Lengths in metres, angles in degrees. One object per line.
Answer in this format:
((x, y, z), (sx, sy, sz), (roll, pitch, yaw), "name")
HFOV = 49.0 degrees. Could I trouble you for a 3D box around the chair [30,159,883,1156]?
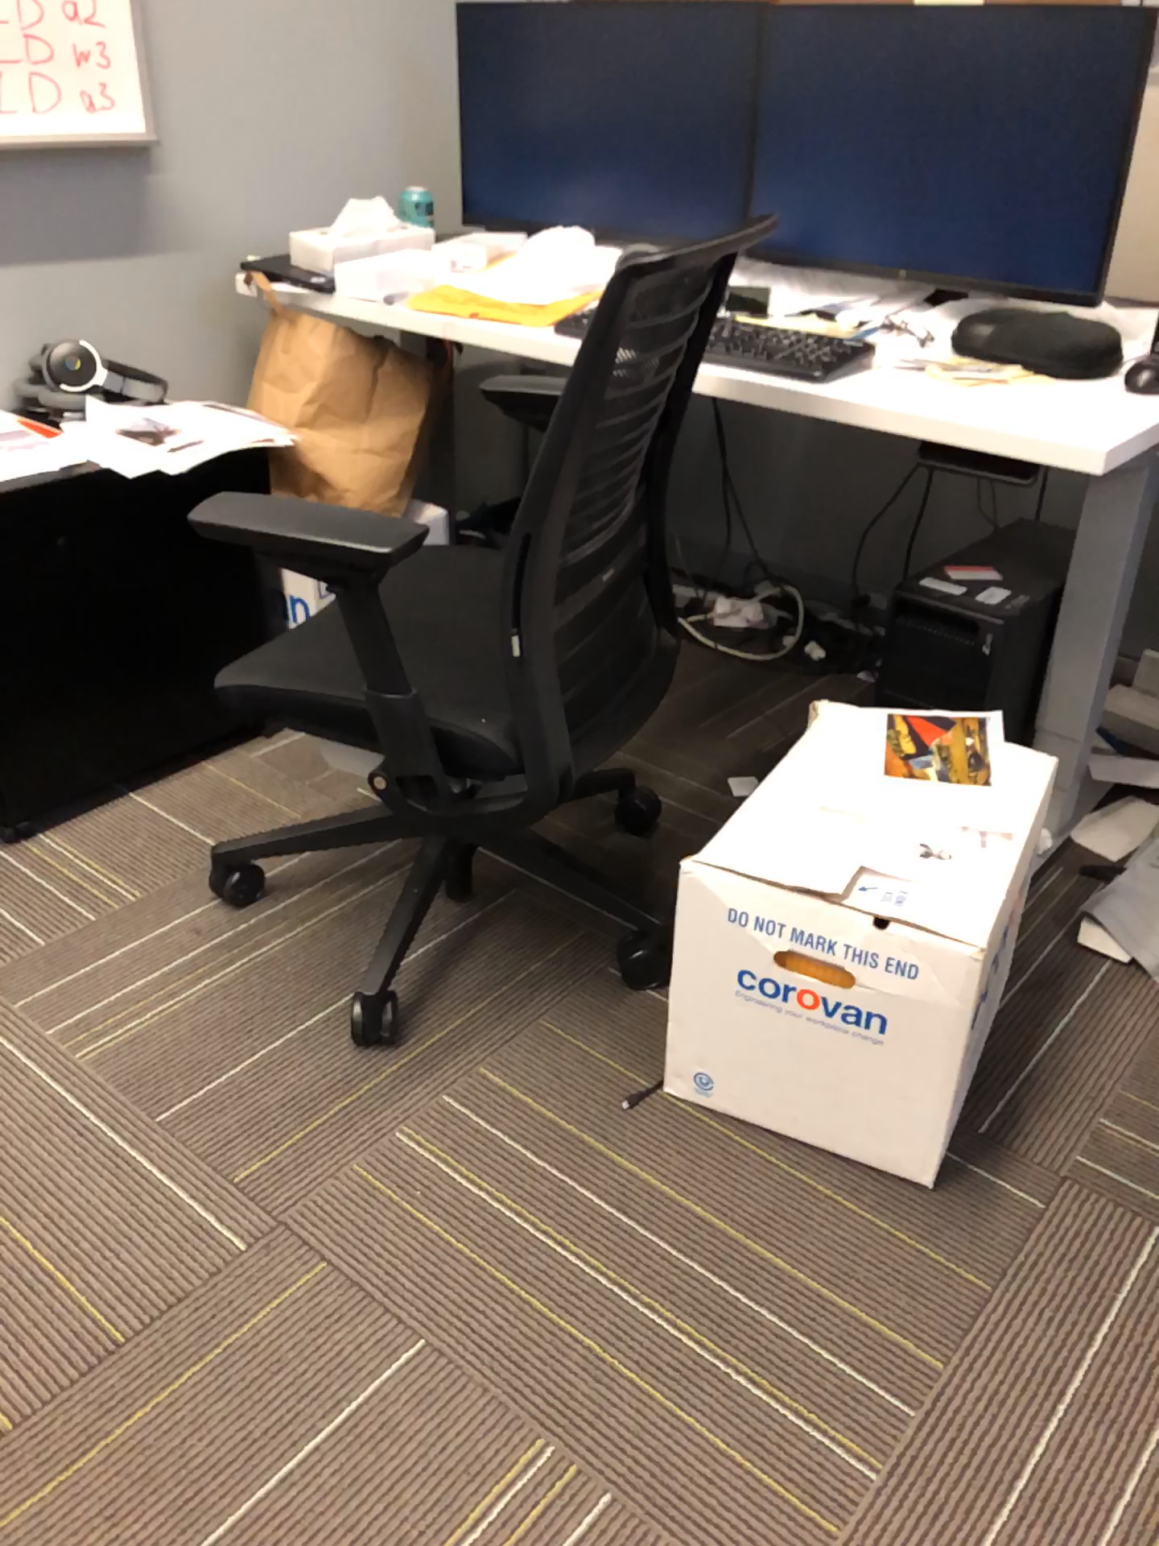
((-0.083, -0.226, 1.695), (0.700, 0.994, 0.784), (12, 31, 18), "chair")
